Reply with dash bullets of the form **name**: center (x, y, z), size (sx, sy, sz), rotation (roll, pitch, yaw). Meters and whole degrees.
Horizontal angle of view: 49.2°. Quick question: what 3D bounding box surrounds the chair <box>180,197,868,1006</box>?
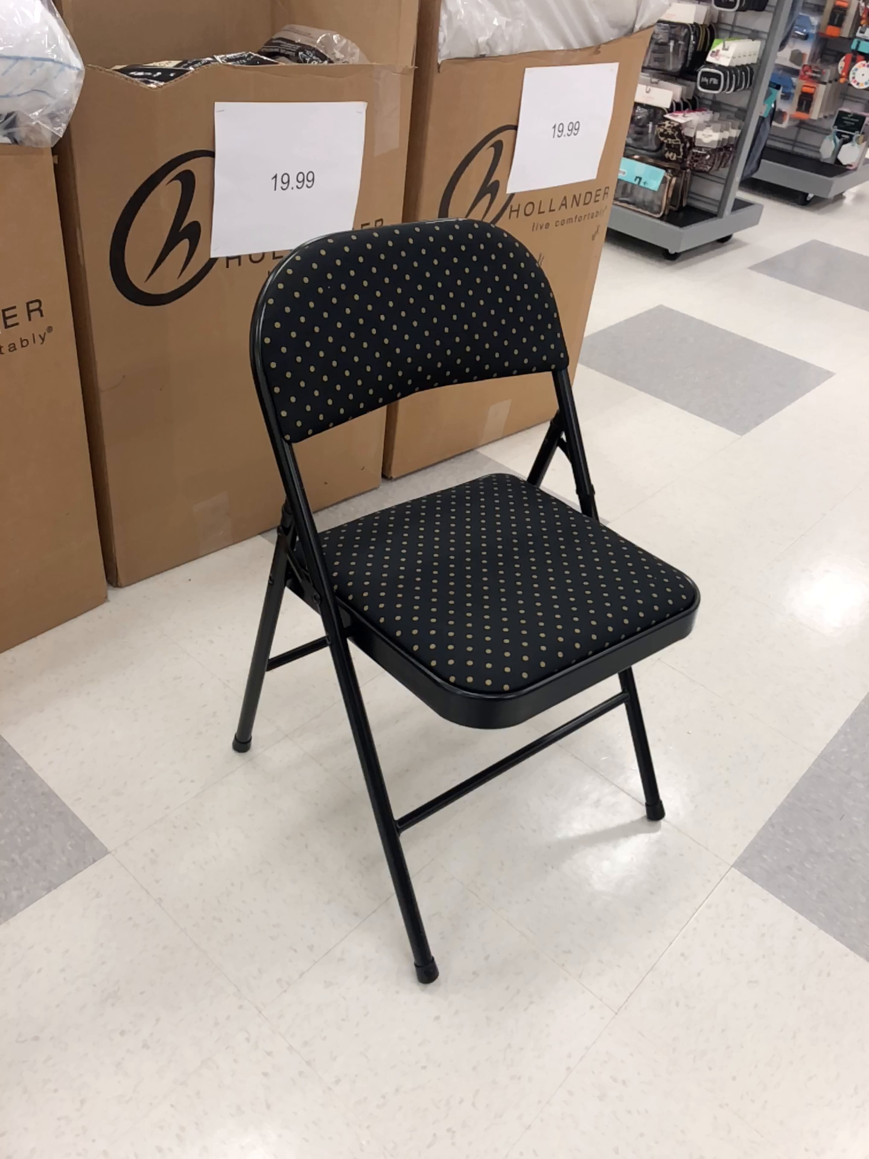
- **chair**: center (0.049, -0.002, 1.197), size (0.486, 0.729, 0.540), rotation (-23, 47, -34)
